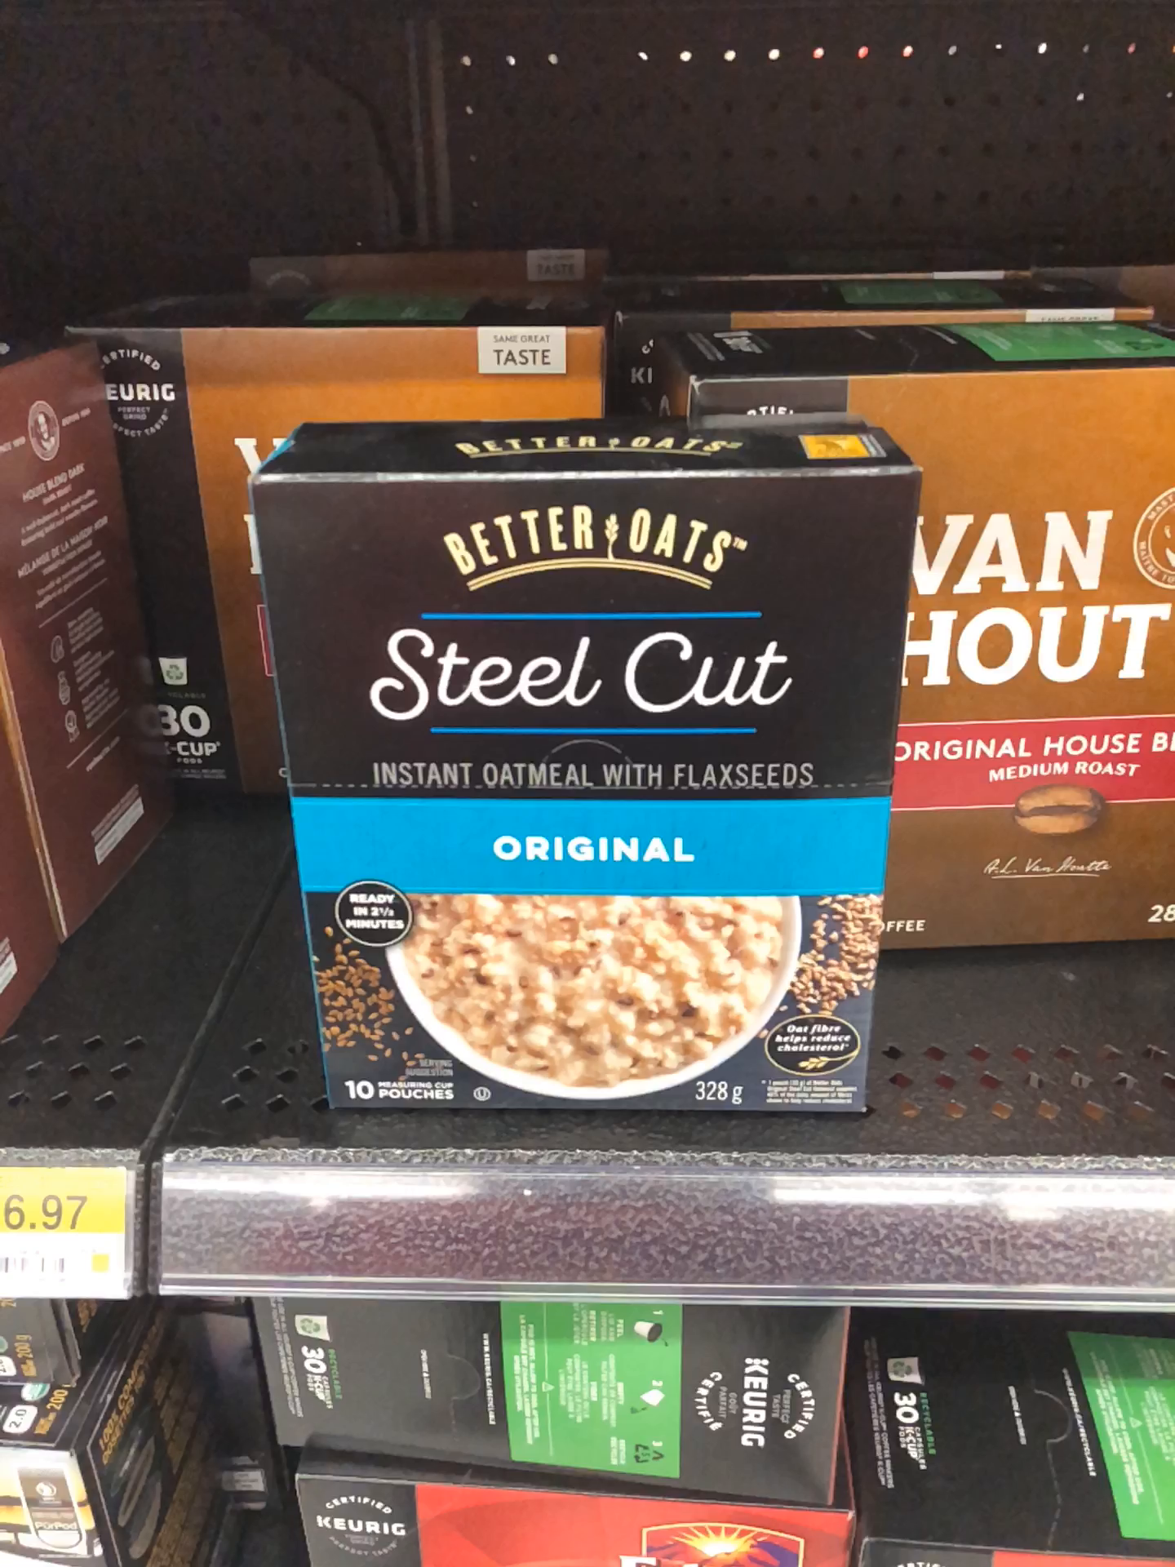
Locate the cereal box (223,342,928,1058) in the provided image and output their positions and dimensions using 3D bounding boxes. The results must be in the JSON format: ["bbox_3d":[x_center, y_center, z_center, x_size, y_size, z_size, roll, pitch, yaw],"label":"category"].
[{"bbox_3d":[-0.002,-0.018,0.345,0.150,0.179,0.060,0,28,1],"label":"cereal box"}]
